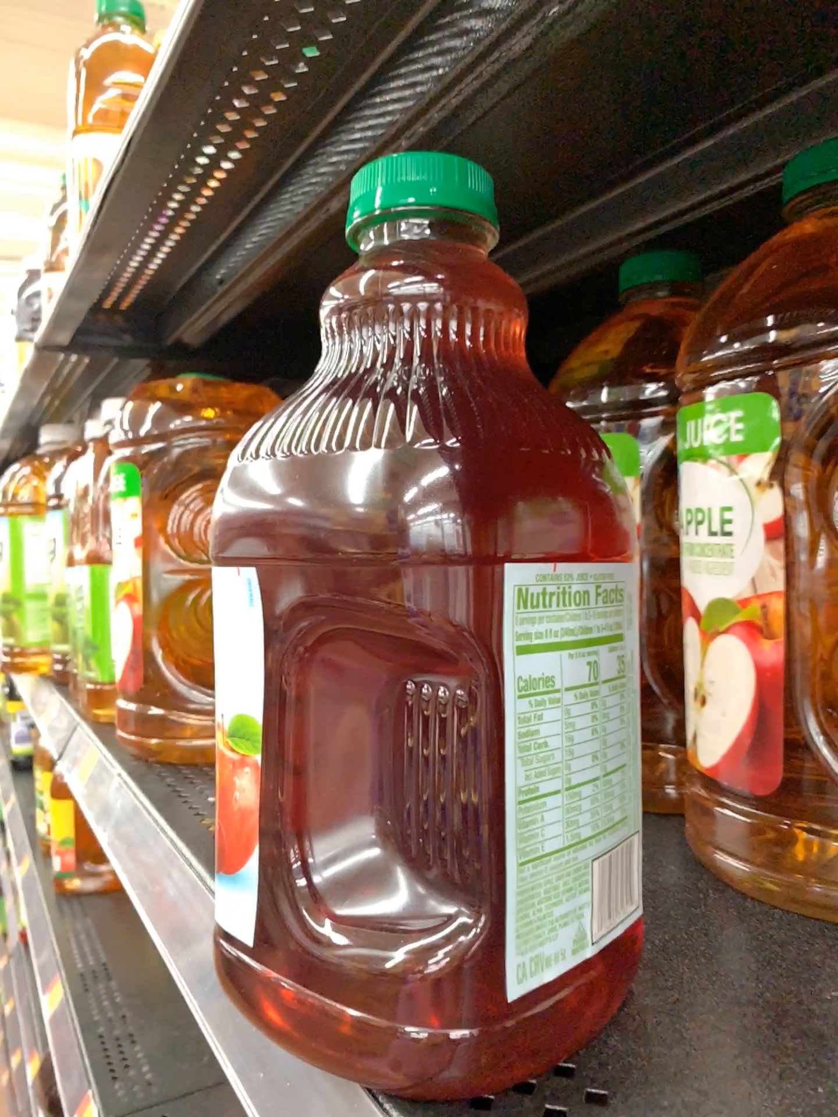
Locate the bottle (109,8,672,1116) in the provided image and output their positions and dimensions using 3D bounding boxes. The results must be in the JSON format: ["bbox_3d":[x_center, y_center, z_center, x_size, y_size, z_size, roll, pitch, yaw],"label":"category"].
[{"bbox_3d":[-0.001,0.008,0.263,0.110,0.250,0.120,-3,1,0],"label":"bottle"}]
